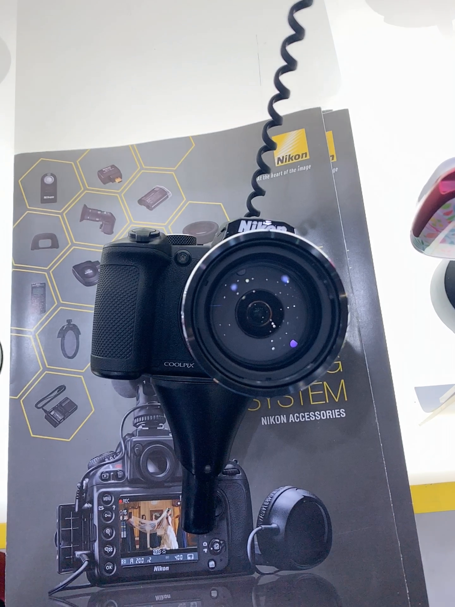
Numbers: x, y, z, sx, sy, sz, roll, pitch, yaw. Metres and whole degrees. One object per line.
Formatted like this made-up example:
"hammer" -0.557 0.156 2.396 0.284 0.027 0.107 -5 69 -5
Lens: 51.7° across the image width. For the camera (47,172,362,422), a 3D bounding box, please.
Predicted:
"camera" -0.006 -0.004 0.227 0.120 0.080 0.090 5 89 8
